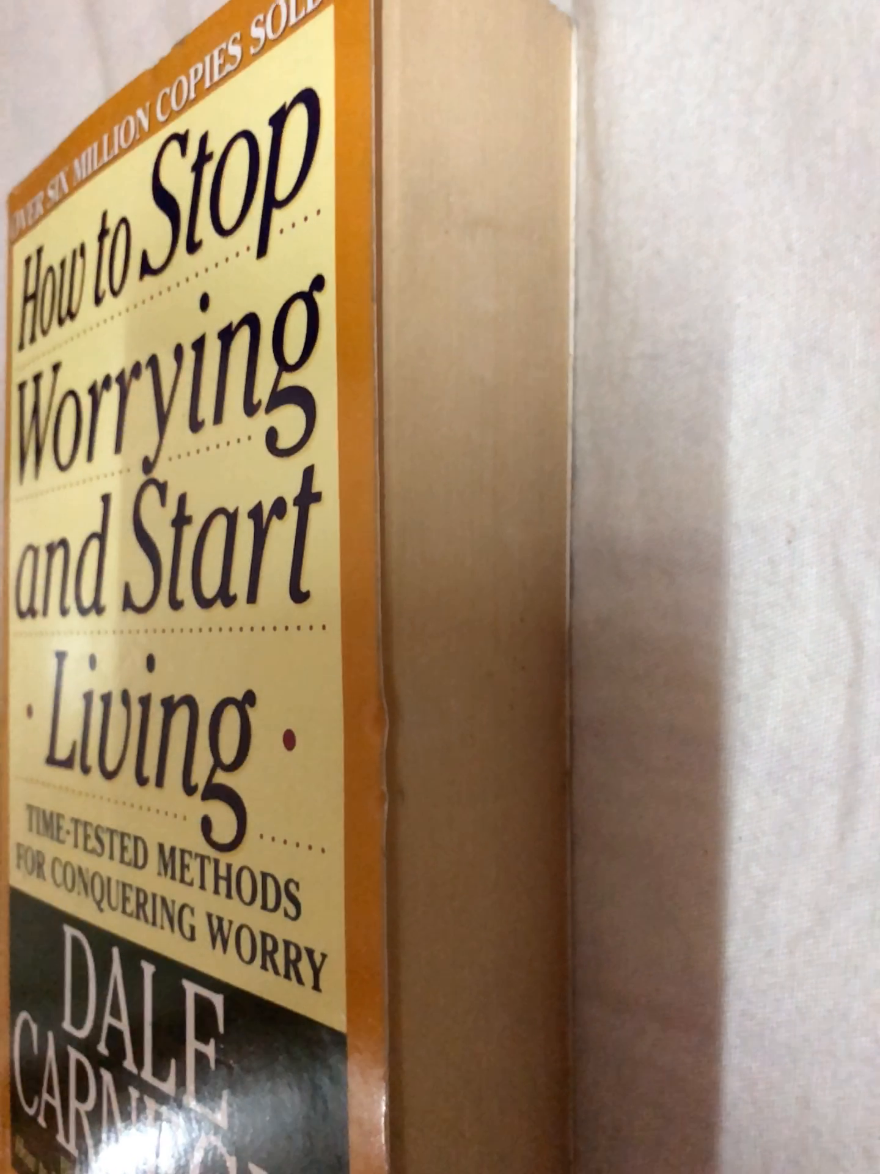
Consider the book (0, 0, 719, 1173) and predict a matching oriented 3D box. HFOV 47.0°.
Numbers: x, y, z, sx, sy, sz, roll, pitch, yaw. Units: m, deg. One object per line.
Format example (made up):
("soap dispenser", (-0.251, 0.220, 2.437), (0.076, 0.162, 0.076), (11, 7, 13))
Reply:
("book", (-0.024, 0.011, 0.146), (0.111, 0.050, 0.170), (-3, 86, 43))
